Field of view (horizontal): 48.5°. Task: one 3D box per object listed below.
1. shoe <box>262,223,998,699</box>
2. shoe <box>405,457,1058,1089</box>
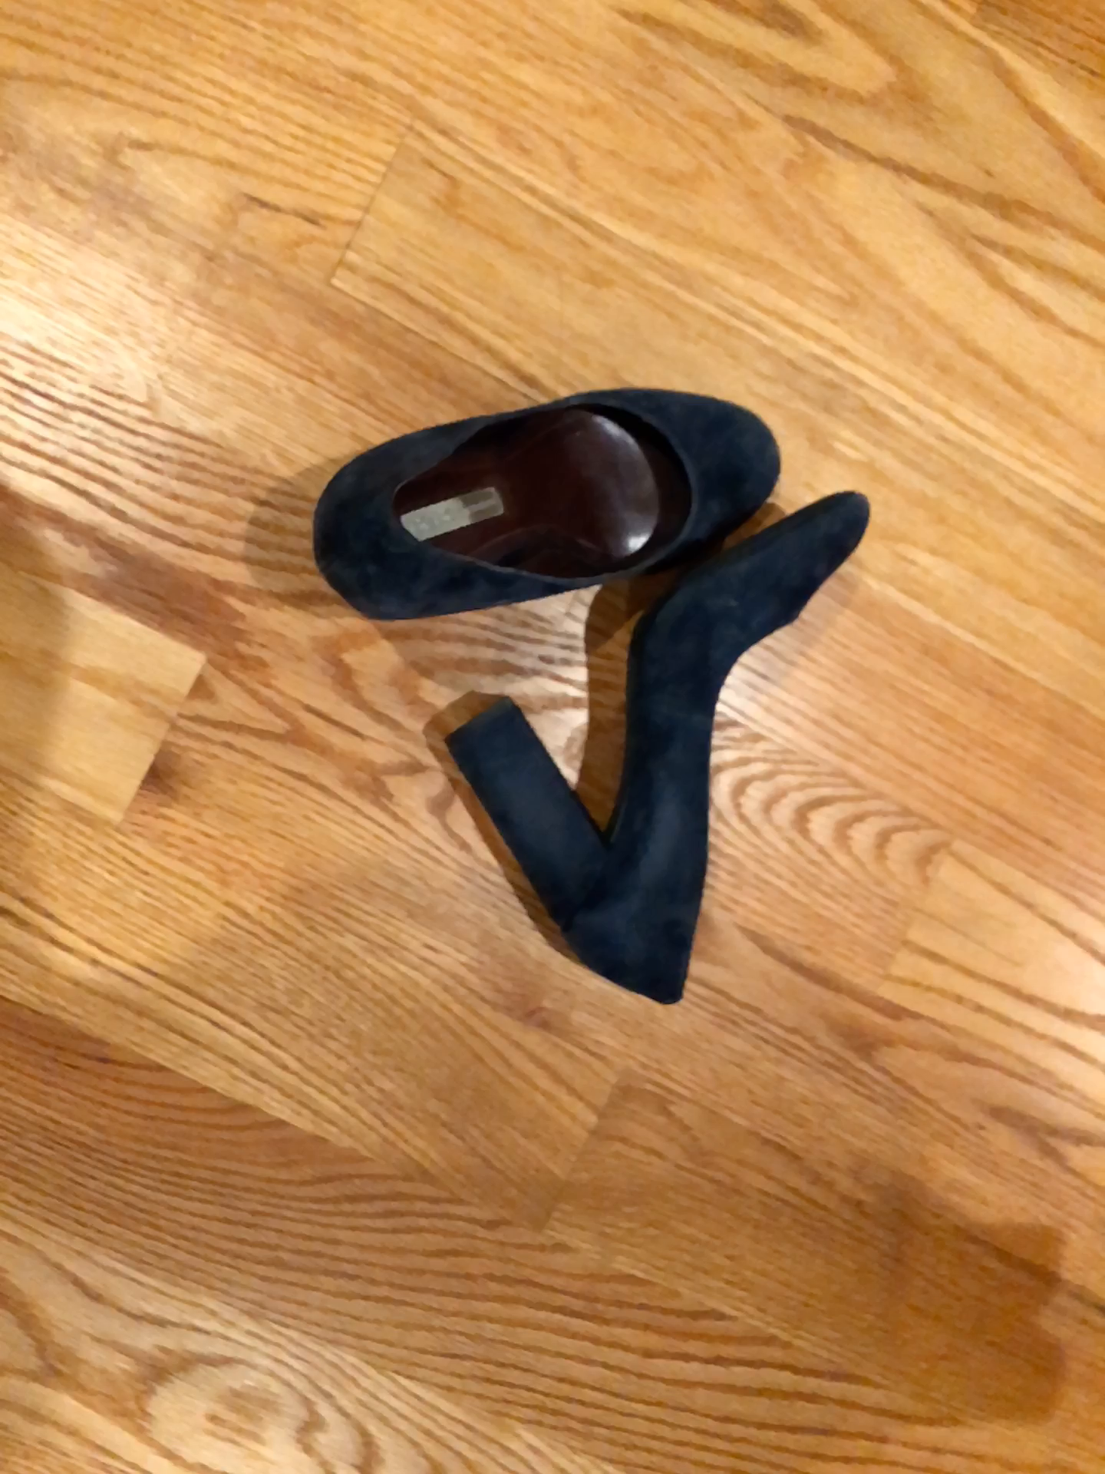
[{"bbox_3d":[0.019,-0.094,0.462,0.226,0.147,0.080,-21,96,-8],"label":"shoe"},{"bbox_3d":[0.069,0.011,0.506,0.204,0.080,0.152,-35,98,-6],"label":"shoe"}]
